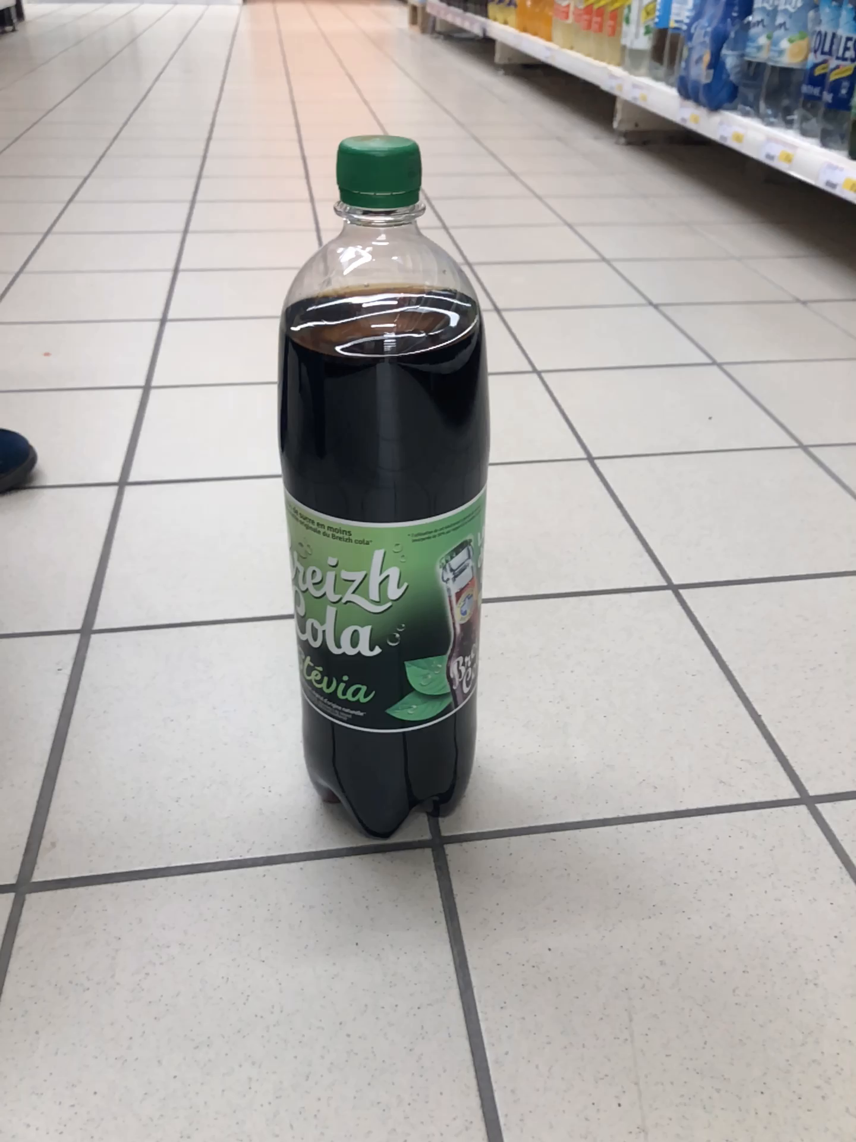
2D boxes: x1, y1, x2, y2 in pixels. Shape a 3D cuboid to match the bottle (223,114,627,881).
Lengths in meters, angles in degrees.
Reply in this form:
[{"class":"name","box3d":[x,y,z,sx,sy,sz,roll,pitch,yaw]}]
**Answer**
[{"class":"bottle","box3d":[-0.003,-0.023,0.408,0.100,0.298,0.101,1,32,-1]}]
